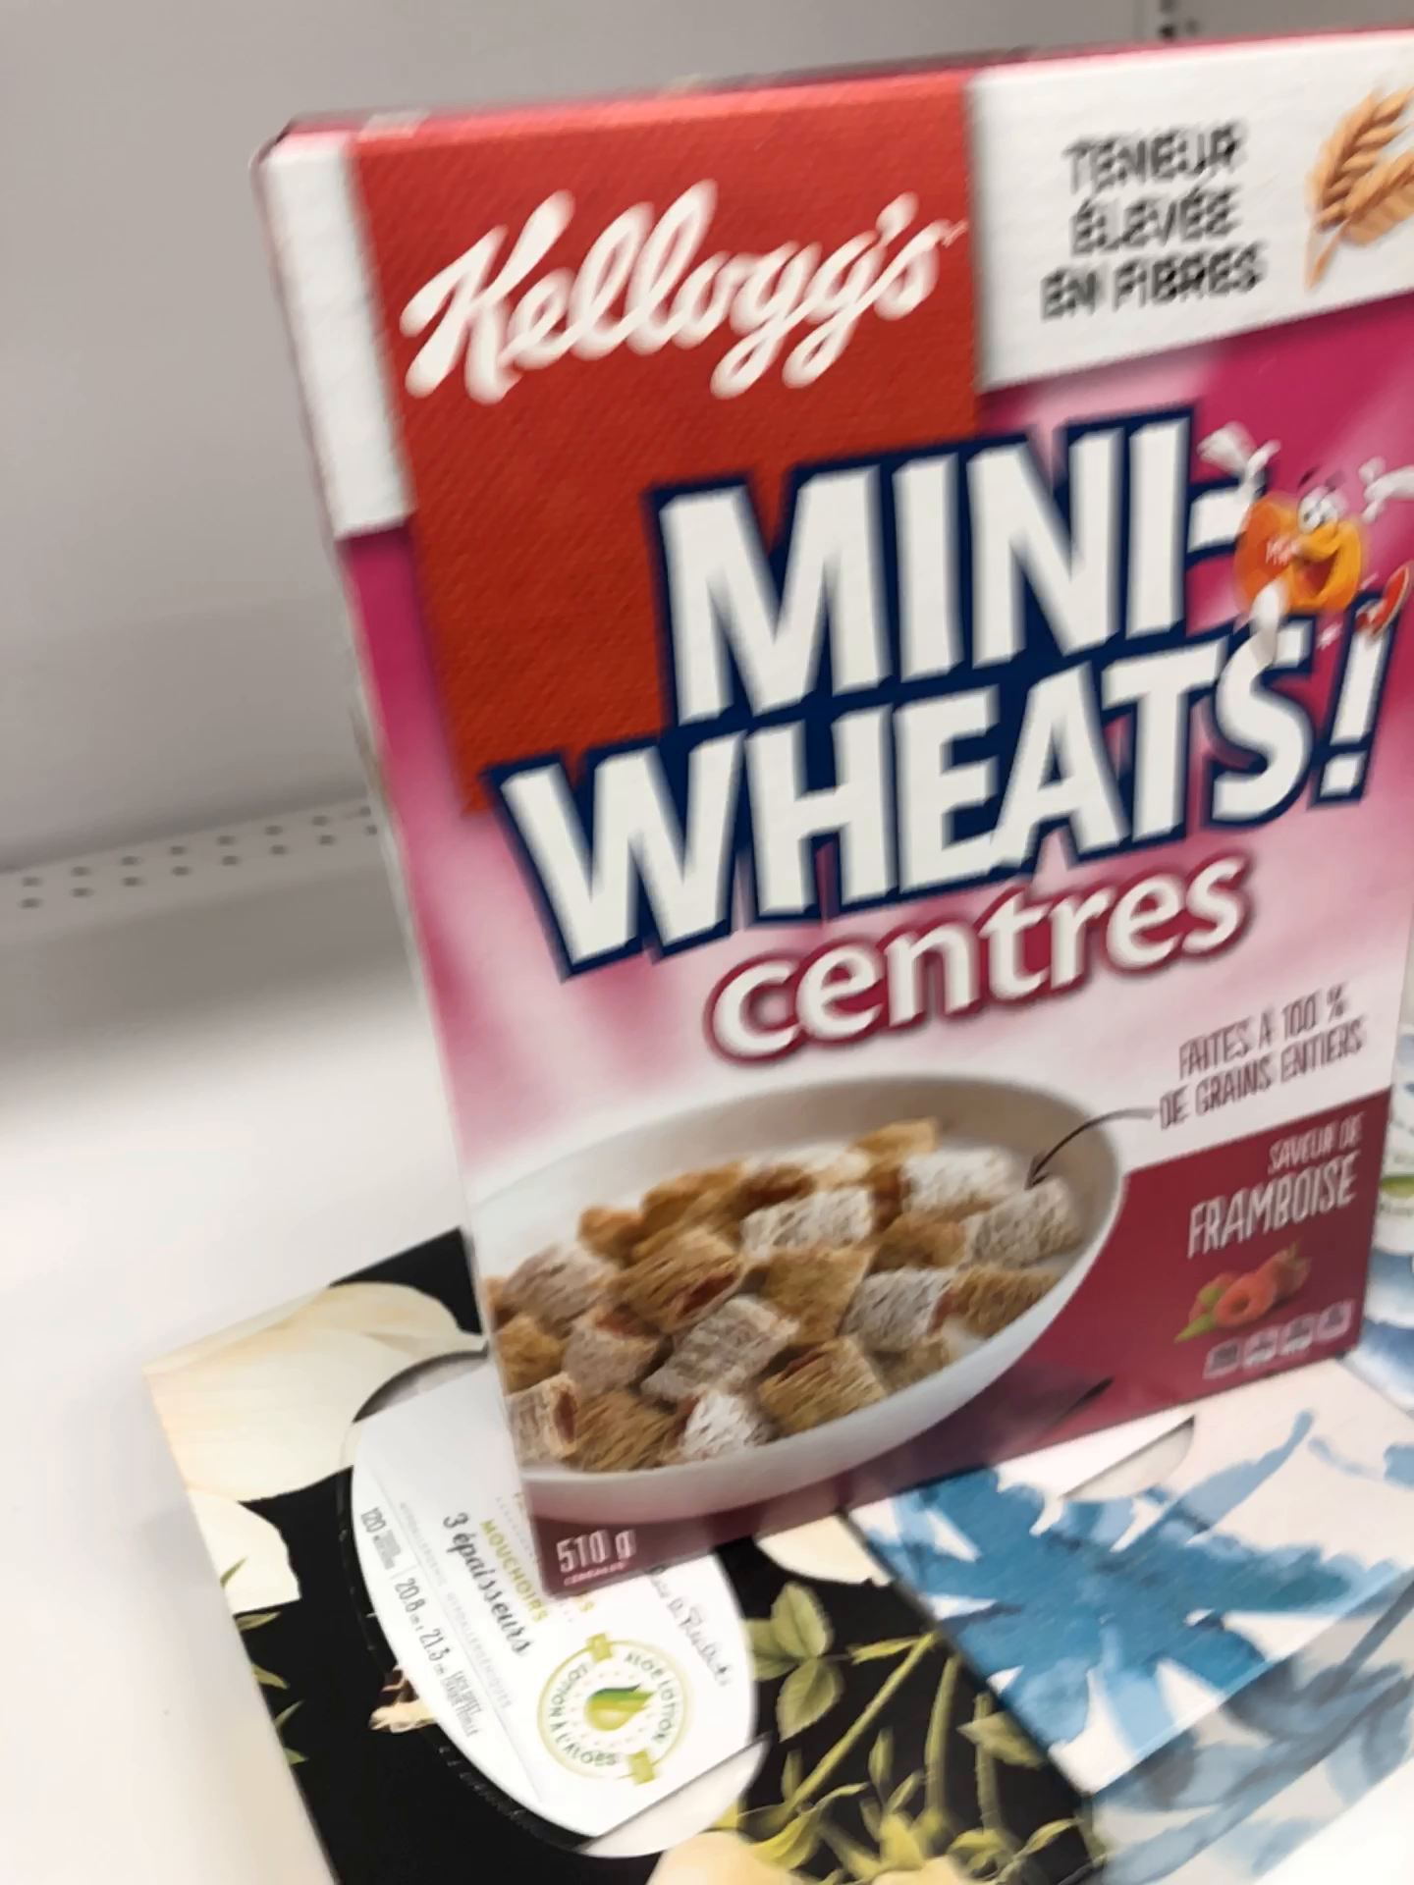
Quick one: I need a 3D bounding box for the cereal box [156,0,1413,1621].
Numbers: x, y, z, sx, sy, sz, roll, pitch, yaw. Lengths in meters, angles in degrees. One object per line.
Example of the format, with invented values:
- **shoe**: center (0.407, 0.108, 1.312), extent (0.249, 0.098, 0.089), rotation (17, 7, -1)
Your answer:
- **cereal box**: center (0.036, -0.016, 0.301), extent (0.210, 0.269, 0.050), rotation (-12, 27, -13)
